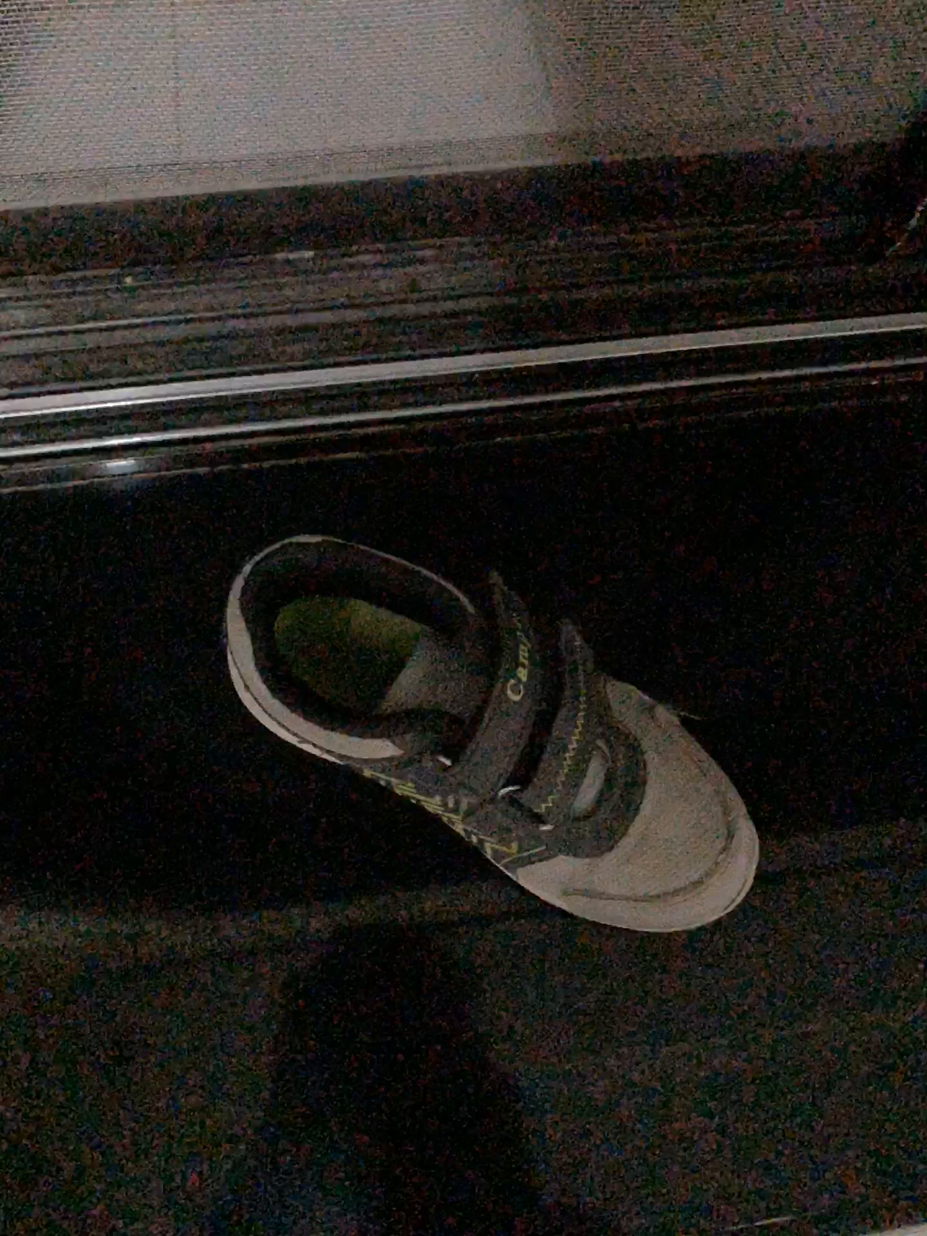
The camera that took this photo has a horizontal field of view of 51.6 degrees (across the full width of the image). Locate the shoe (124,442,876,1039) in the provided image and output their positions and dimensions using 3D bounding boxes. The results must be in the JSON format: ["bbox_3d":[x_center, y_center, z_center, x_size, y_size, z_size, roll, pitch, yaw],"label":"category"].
[{"bbox_3d":[0.010,0.043,0.349,0.230,0.080,0.090,30,73,8],"label":"shoe"}]
